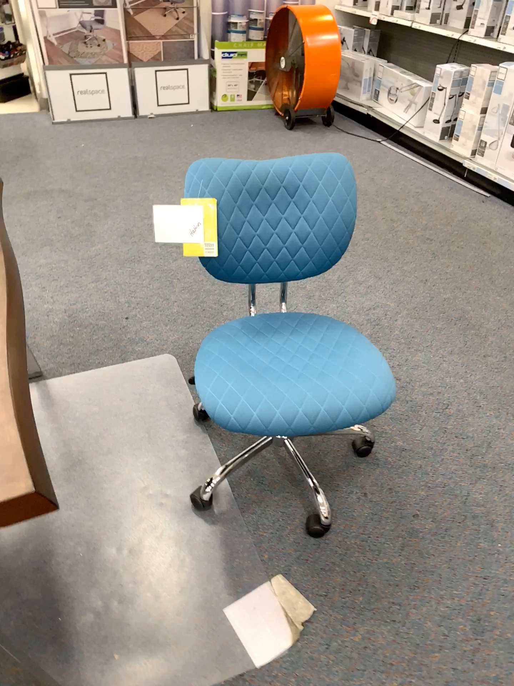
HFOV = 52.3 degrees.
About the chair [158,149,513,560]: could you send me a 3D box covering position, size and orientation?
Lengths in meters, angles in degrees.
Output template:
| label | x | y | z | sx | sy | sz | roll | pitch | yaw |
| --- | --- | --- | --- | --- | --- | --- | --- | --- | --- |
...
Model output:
| label | x | y | z | sx | sy | sz | roll | pitch | yaw |
| --- | --- | --- | --- | --- | --- | --- | --- | --- | --- |
| chair | 0.083 | 0.004 | 1.361 | 0.598 | 0.775 | 0.668 | -4 | 38 | -9 |
